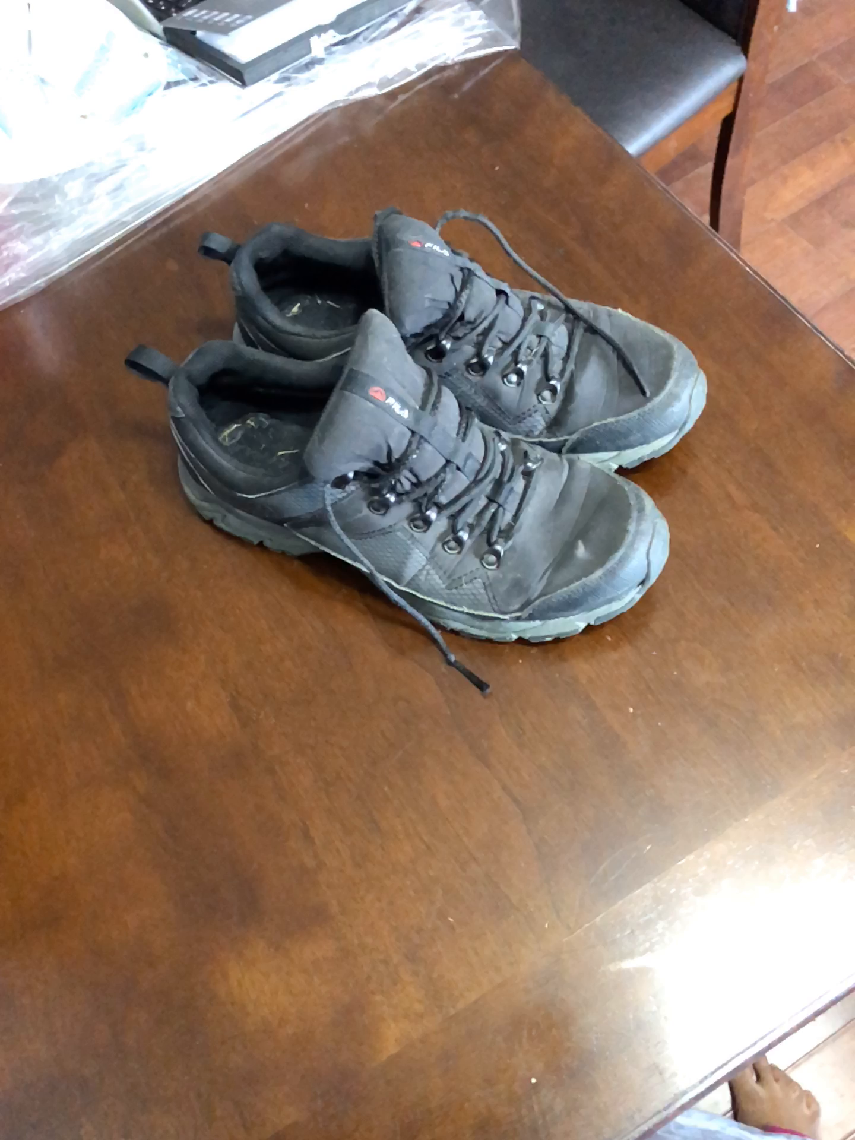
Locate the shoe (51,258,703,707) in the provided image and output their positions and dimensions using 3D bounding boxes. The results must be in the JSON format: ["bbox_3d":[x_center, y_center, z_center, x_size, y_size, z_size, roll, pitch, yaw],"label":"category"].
[{"bbox_3d":[-0.022,-0.050,0.563,0.320,0.170,0.120,17,68,16],"label":"shoe"}]

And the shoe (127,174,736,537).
[{"bbox_3d":[0.008,-0.132,0.590,0.320,0.150,0.120,10,67,13],"label":"shoe"}]
